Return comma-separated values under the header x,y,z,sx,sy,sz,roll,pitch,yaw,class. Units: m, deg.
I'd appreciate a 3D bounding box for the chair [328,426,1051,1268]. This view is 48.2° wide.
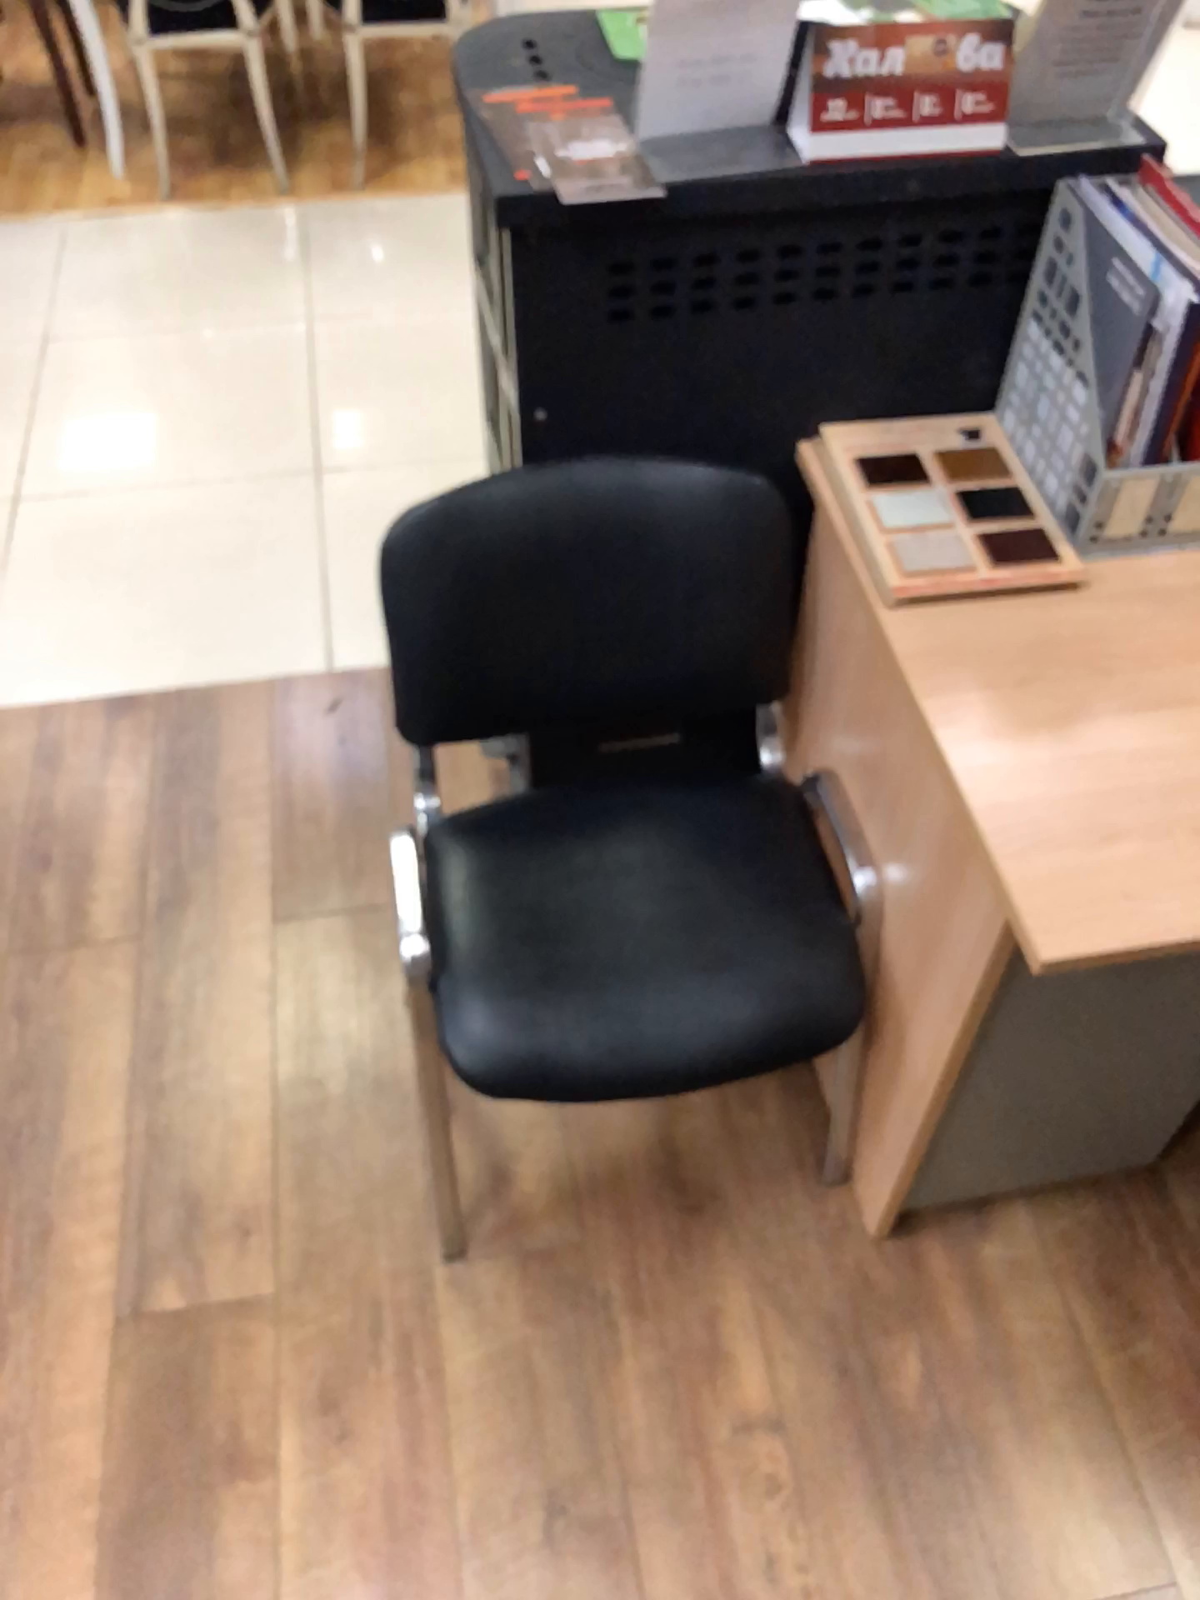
x,y,z,sx,sy,sz,roll,pitch,yaw,class
0.048,0.096,1.576,0.580,0.857,0.482,-8,49,-7,chair
